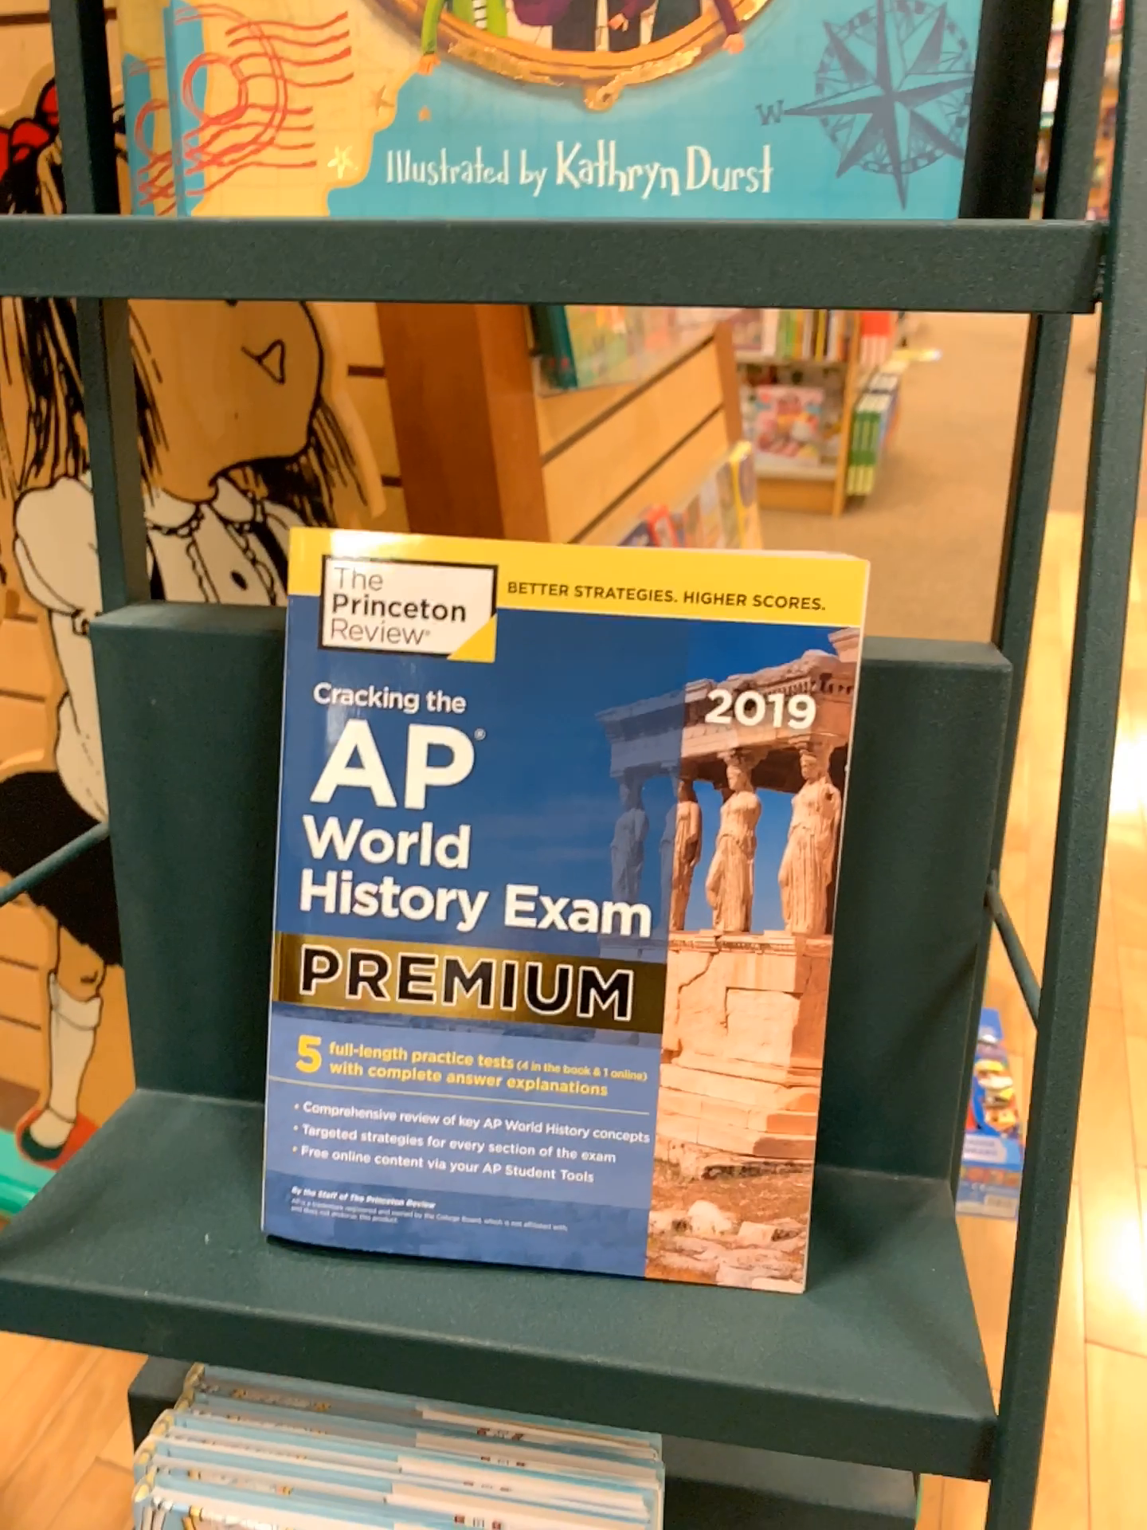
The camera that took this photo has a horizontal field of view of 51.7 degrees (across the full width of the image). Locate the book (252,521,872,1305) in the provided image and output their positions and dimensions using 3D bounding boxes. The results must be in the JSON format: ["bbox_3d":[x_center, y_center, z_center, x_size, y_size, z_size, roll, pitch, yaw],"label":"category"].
[{"bbox_3d":[-0.007,0.049,0.451,0.214,0.270,0.057,3,5,8],"label":"book"}]
